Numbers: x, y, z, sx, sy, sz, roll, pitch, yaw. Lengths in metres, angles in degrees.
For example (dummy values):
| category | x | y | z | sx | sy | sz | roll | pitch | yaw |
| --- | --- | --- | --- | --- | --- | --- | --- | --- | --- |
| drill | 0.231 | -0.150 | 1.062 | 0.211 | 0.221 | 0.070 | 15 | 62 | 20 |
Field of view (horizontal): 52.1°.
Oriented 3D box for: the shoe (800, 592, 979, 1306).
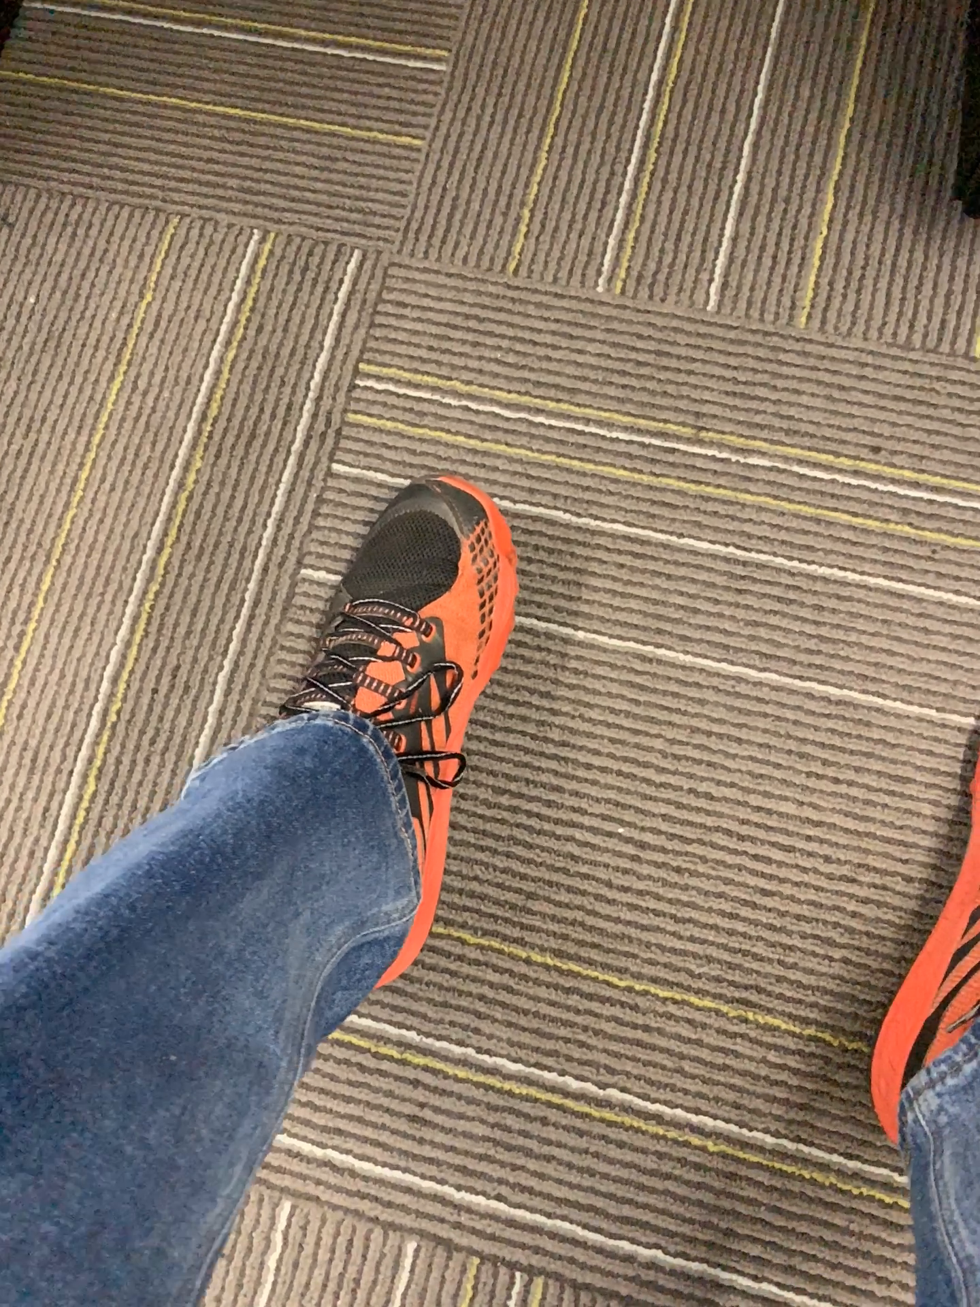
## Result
| category | x | y | z | sx | sy | sz | roll | pitch | yaw |
| --- | --- | --- | --- | --- | --- | --- | --- | --- | --- |
| shoe | 0.295 | 0.140 | 0.522 | 0.140 | 0.090 | 0.302 | 24 | 82 | -3 |

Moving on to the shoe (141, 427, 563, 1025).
| category | x | y | z | sx | sy | sz | roll | pitch | yaw |
| --- | --- | --- | --- | --- | --- | --- | --- | --- | --- |
| shoe | -0.071 | 0.034 | 0.574 | 0.132 | 0.090 | 0.305 | 10 | 79 | 27 |
